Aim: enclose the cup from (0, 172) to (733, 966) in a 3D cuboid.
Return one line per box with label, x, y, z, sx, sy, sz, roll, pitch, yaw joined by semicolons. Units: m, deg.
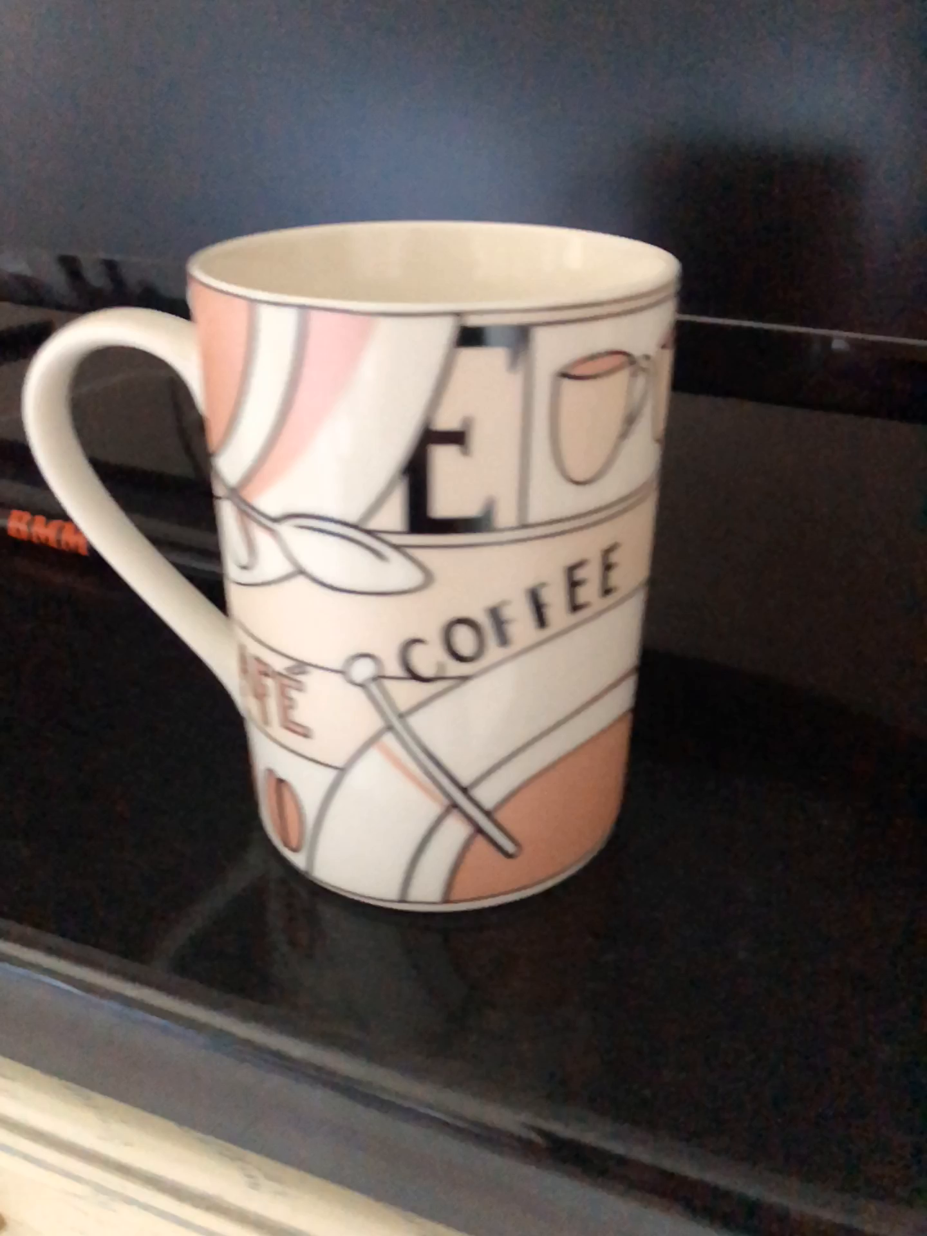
cup;-0.016;-0.014;0.182;0.110;0.109;0.070;7;29;12
